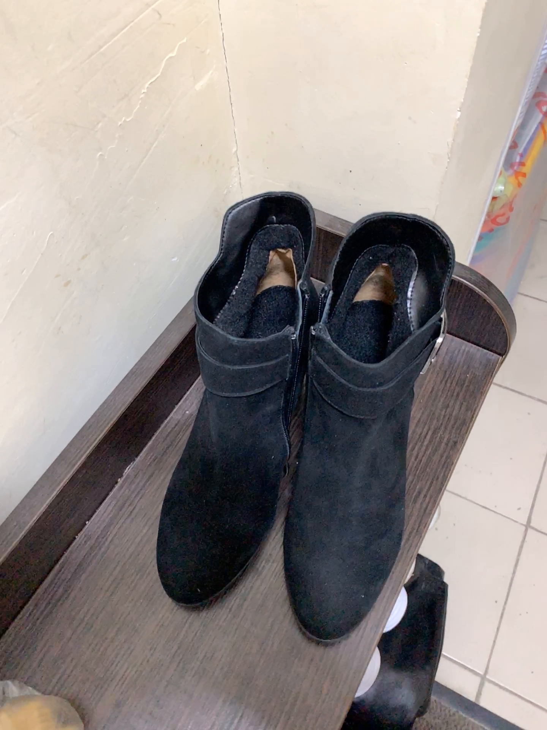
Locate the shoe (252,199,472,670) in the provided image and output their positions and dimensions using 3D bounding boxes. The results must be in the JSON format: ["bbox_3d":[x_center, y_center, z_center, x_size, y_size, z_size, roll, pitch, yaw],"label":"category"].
[{"bbox_3d":[0.056,0.049,0.371,0.088,0.189,0.241,6,57,7],"label":"shoe"}]

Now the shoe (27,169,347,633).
[{"bbox_3d":[-0.028,0.028,0.383,0.088,0.189,0.241,14,58,12],"label":"shoe"}]
